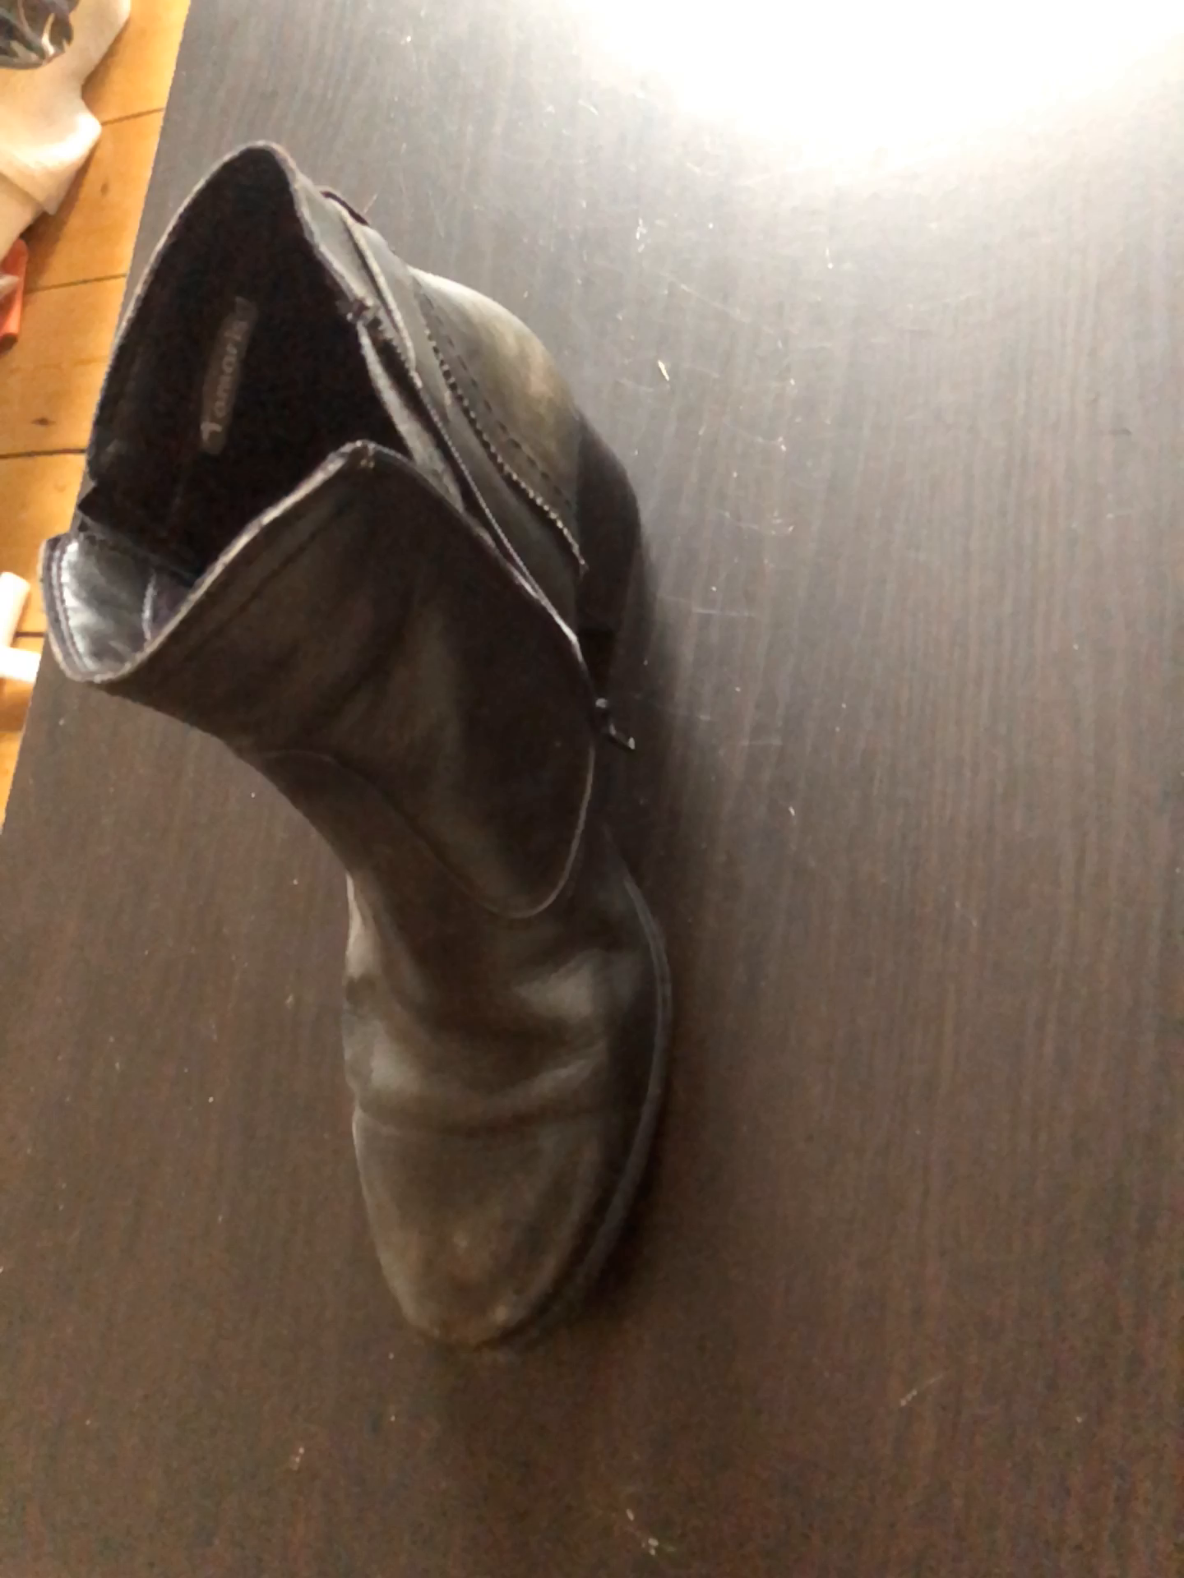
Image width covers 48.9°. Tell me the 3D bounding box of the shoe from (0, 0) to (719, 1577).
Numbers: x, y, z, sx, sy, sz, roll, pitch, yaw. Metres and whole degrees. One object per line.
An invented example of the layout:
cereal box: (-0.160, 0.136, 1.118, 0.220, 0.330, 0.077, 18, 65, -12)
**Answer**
shoe: (-0.050, -0.004, 0.298, 0.090, 0.170, 0.270, -3, 76, 27)
